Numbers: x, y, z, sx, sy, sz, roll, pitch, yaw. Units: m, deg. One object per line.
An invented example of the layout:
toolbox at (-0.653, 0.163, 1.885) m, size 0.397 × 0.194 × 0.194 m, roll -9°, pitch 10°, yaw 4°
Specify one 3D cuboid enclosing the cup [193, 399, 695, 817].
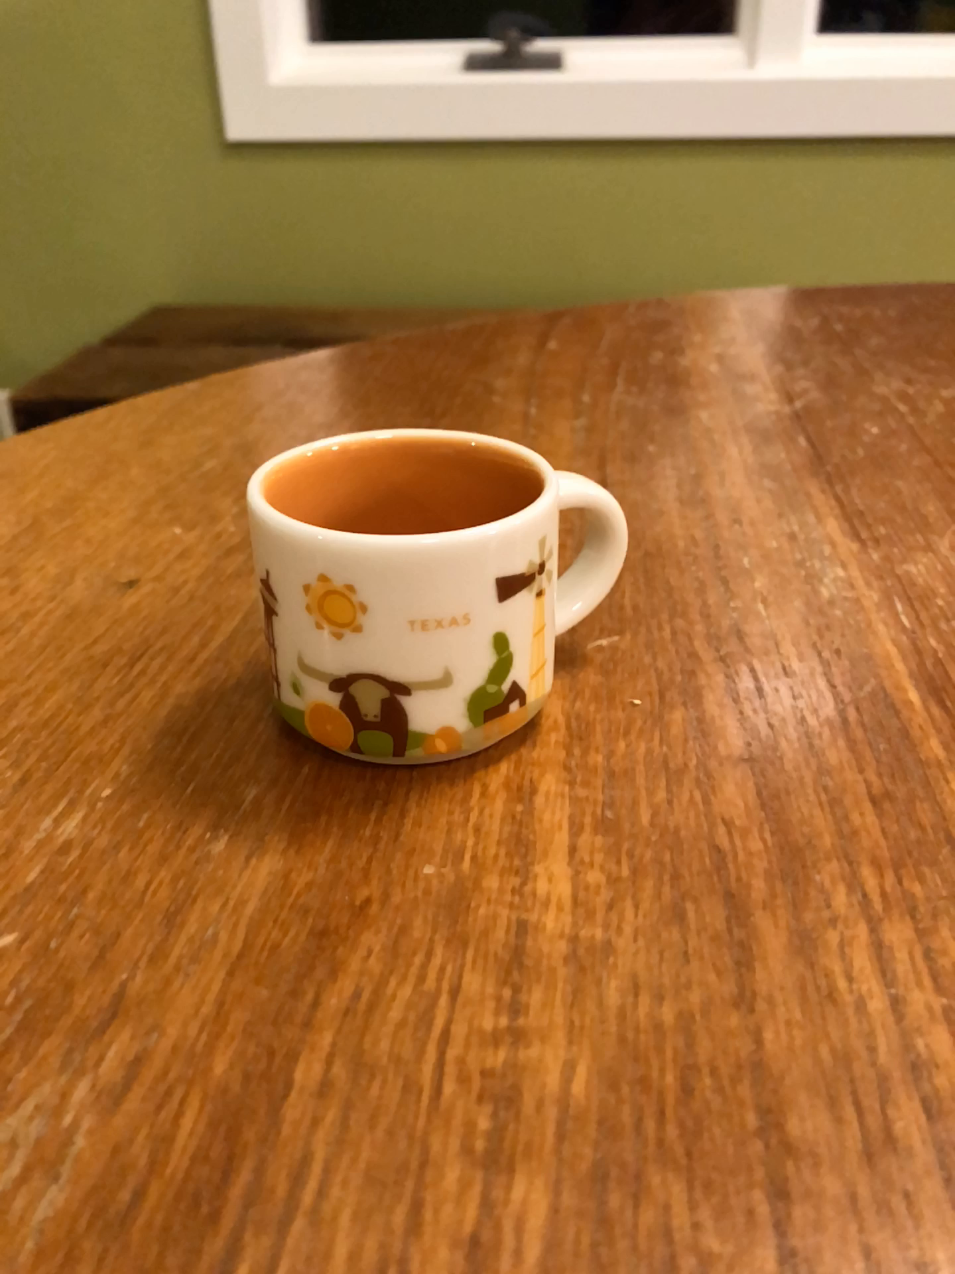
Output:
cup at (-0.008, -0.011, 0.220) m, size 0.080 × 0.049 × 0.060 m, roll -16°, pitch 32°, yaw -24°
